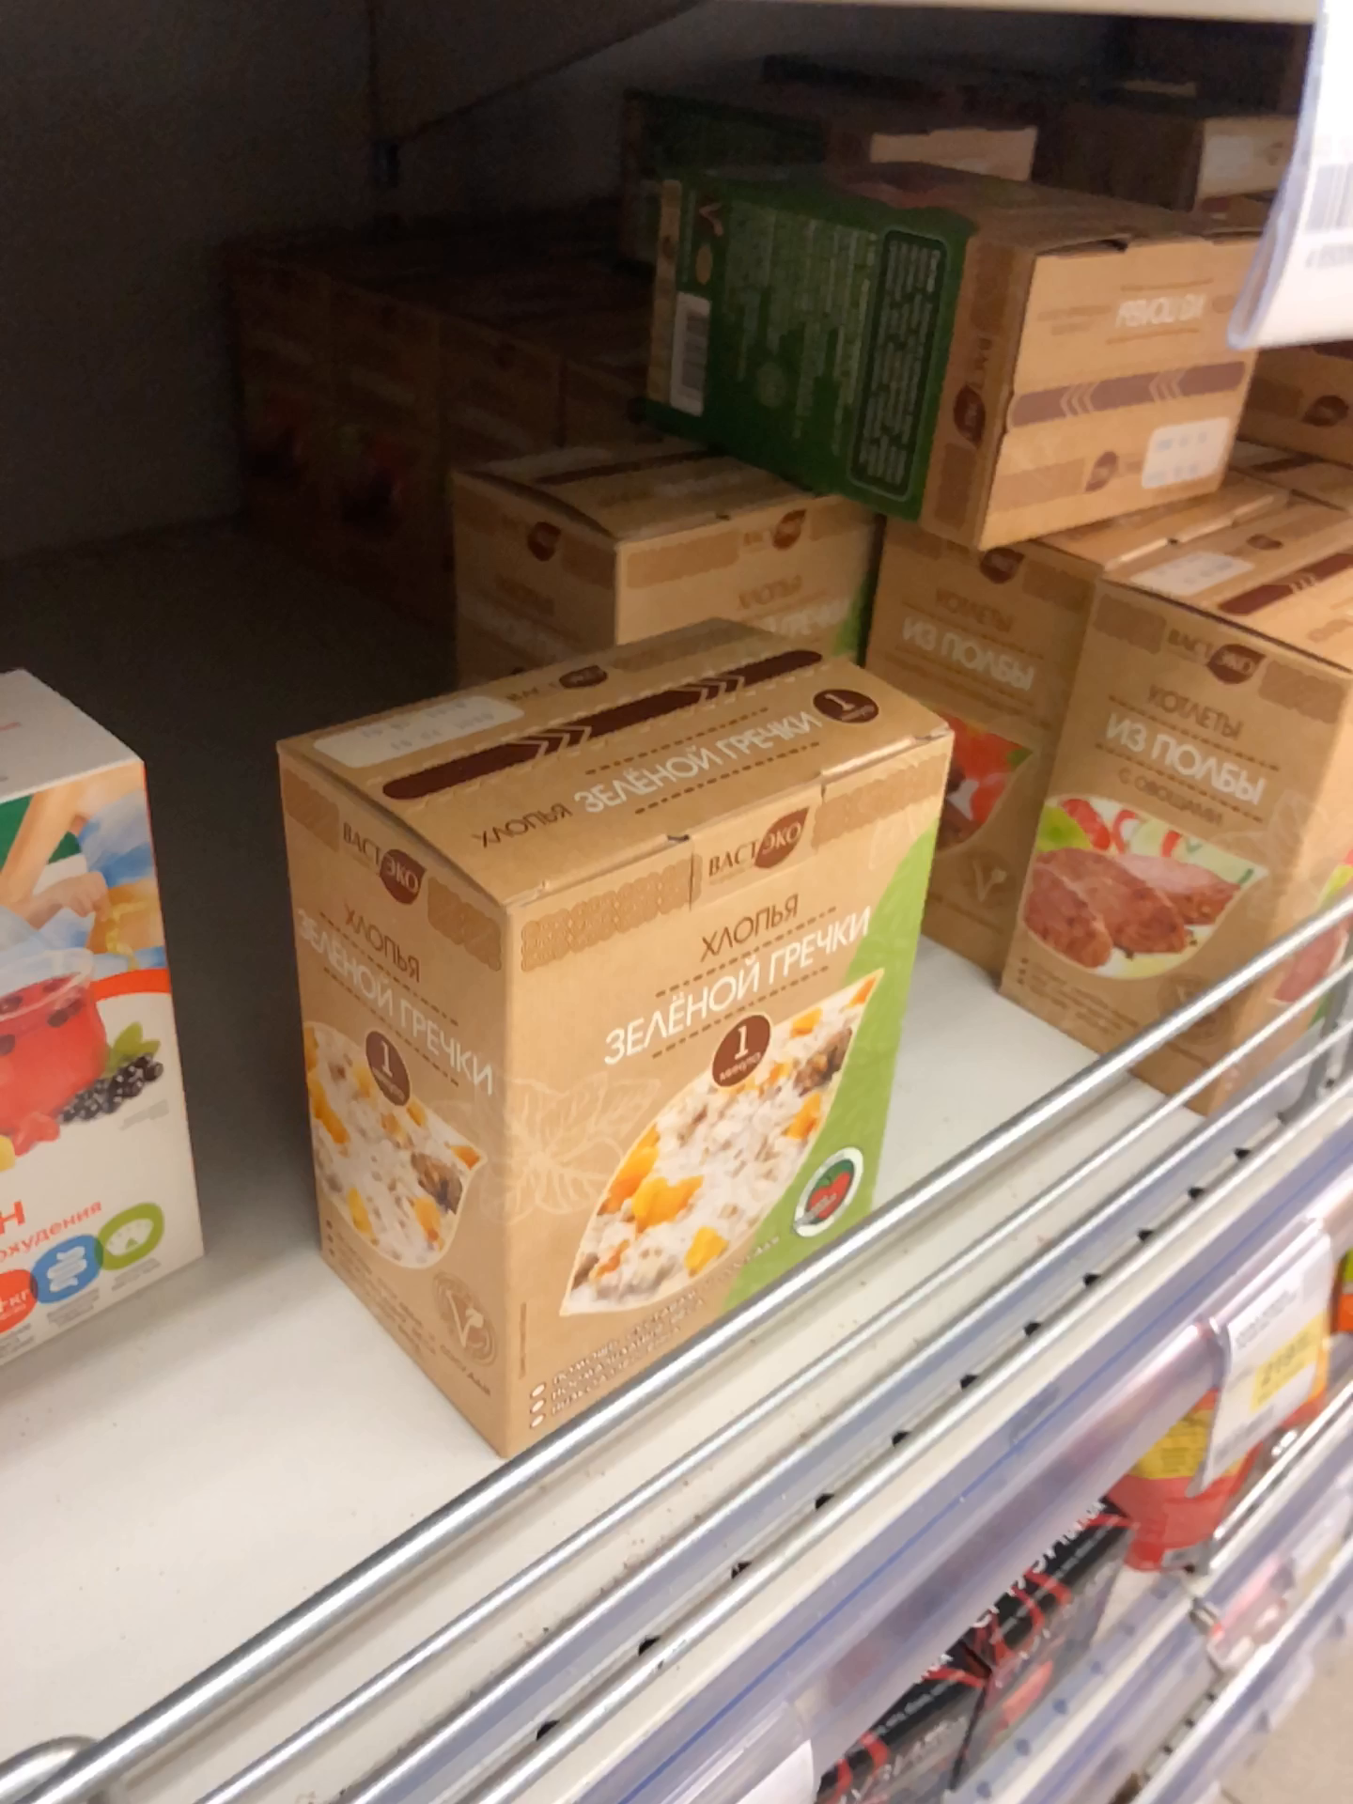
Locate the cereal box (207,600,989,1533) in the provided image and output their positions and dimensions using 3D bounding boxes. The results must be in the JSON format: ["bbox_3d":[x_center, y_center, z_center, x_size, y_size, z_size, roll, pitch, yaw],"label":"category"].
[{"bbox_3d":[-0.019,0.029,0.344,0.130,0.149,0.090,-23,42,-37],"label":"cereal box"}]
